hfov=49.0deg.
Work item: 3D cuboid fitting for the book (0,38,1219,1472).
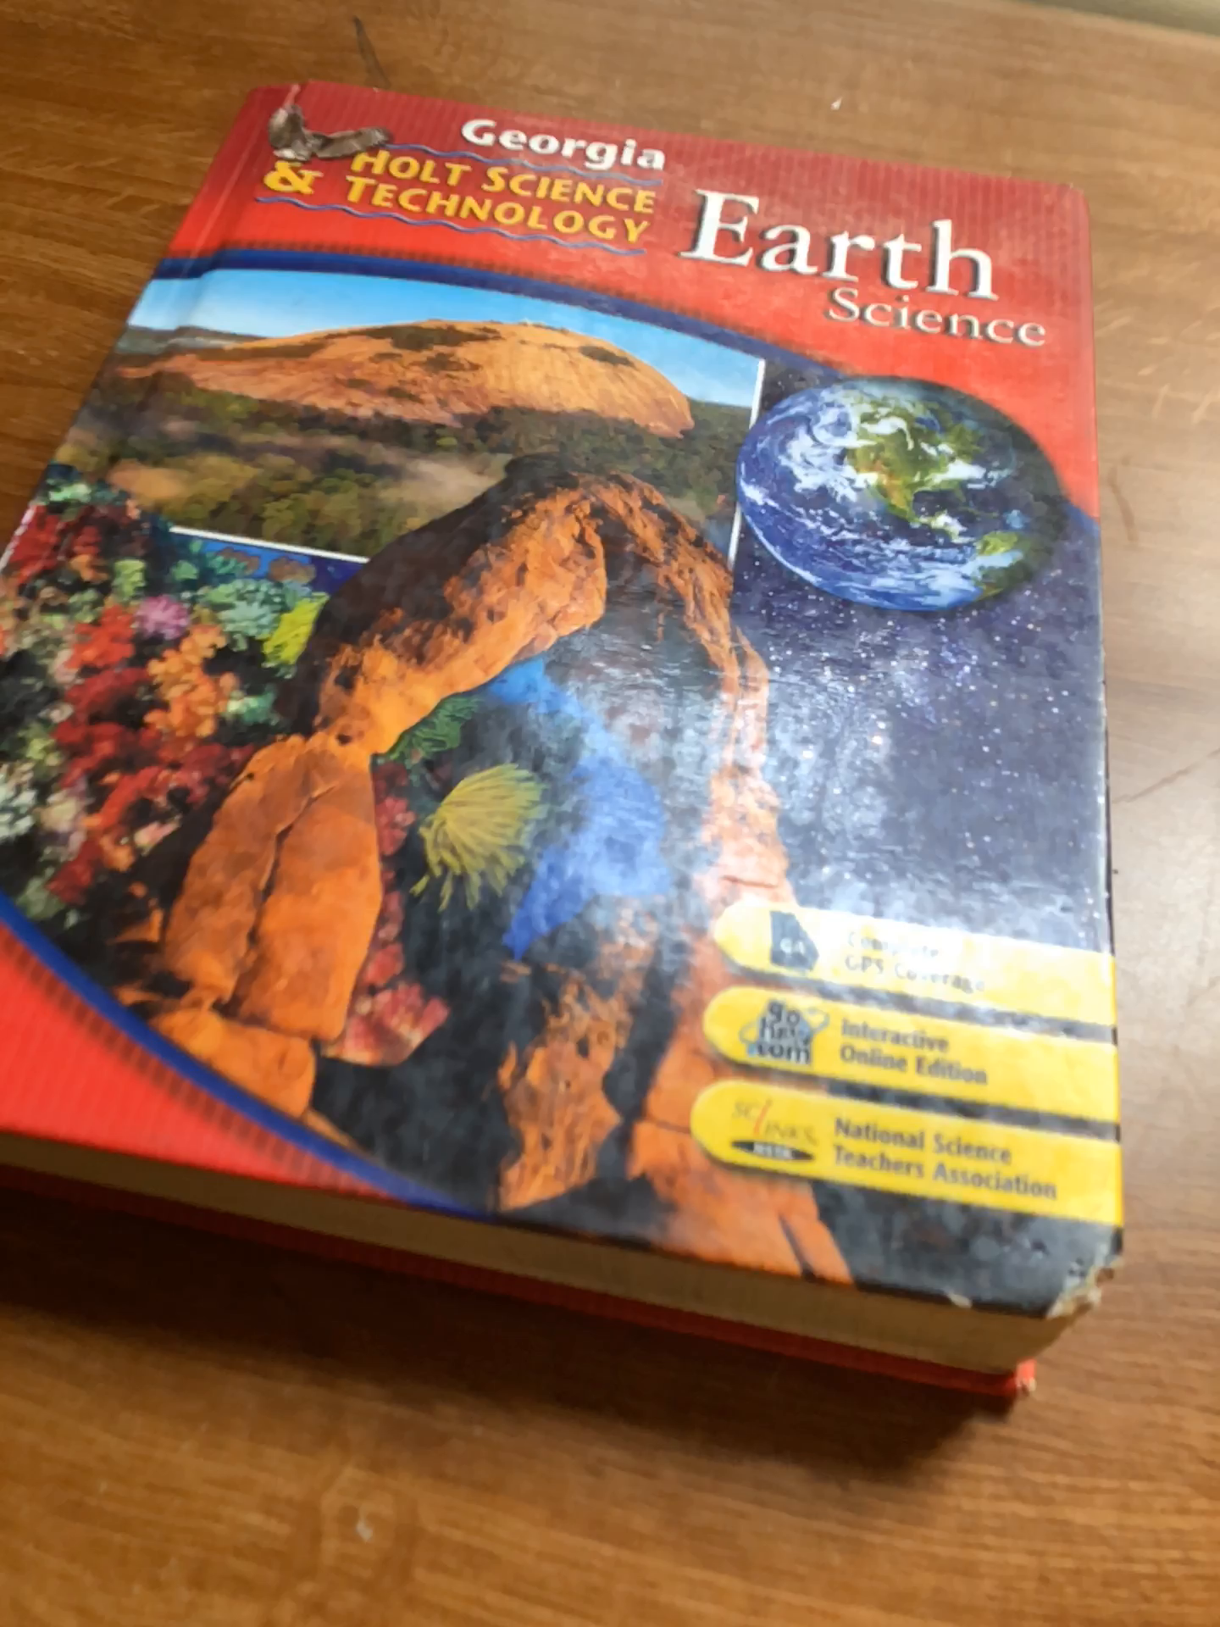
[{"bbox_3d":[0.007,-0.041,0.262,0.214,0.050,0.266,10,58,3],"label":"book"}]
